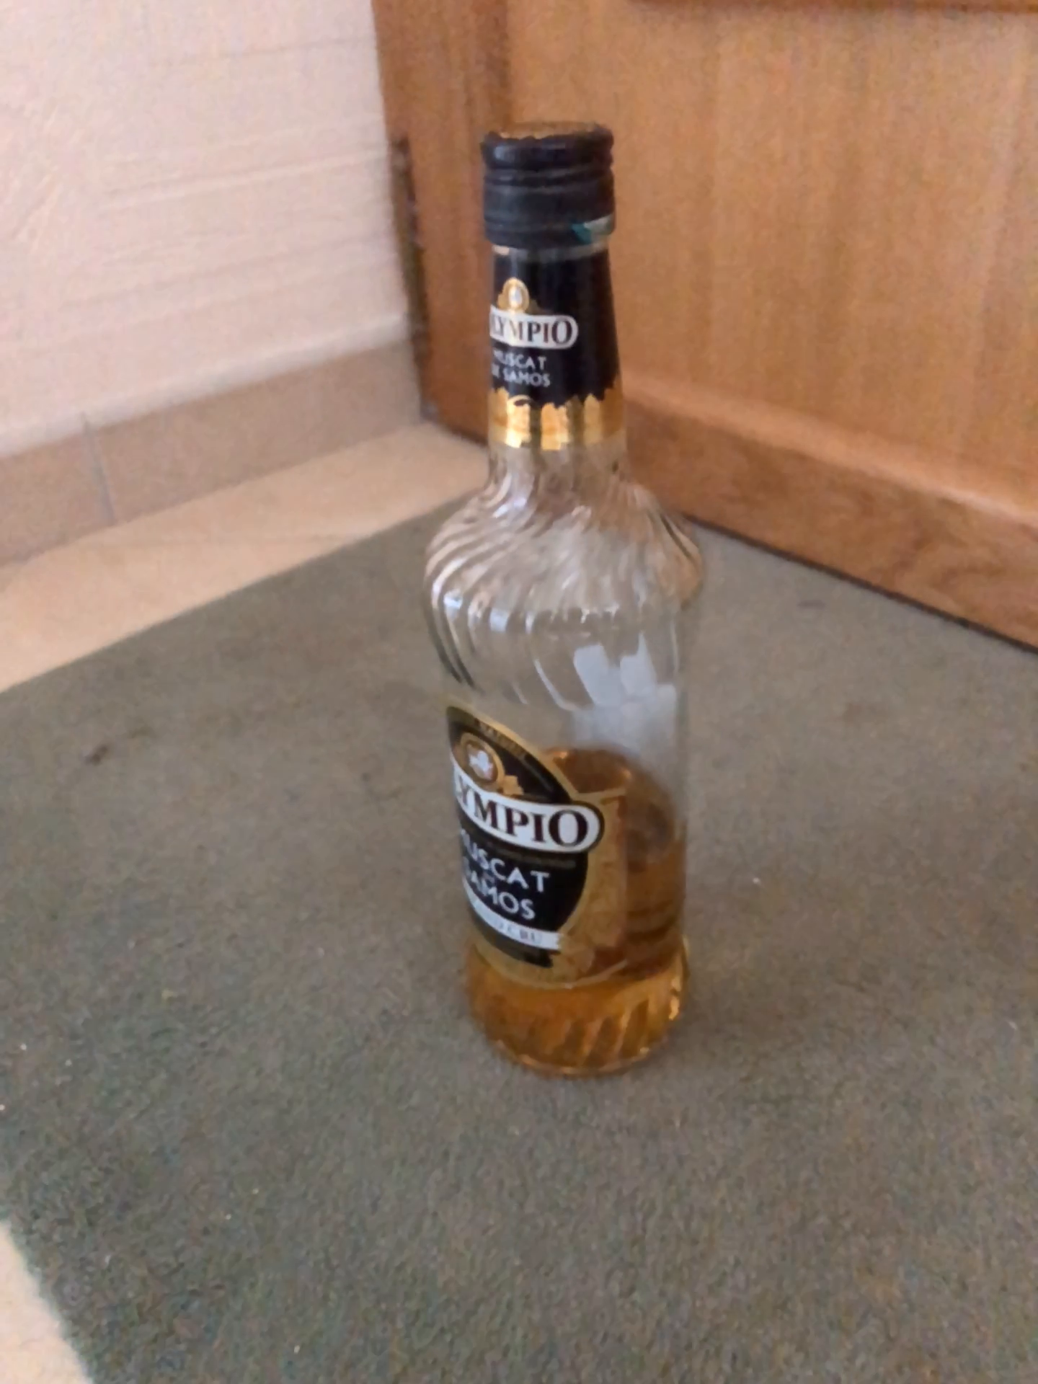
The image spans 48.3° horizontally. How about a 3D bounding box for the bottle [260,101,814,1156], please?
[{"bbox_3d":[0.010,-0.006,0.344,0.090,0.288,0.090,-3,34,2],"label":"bottle"}]
